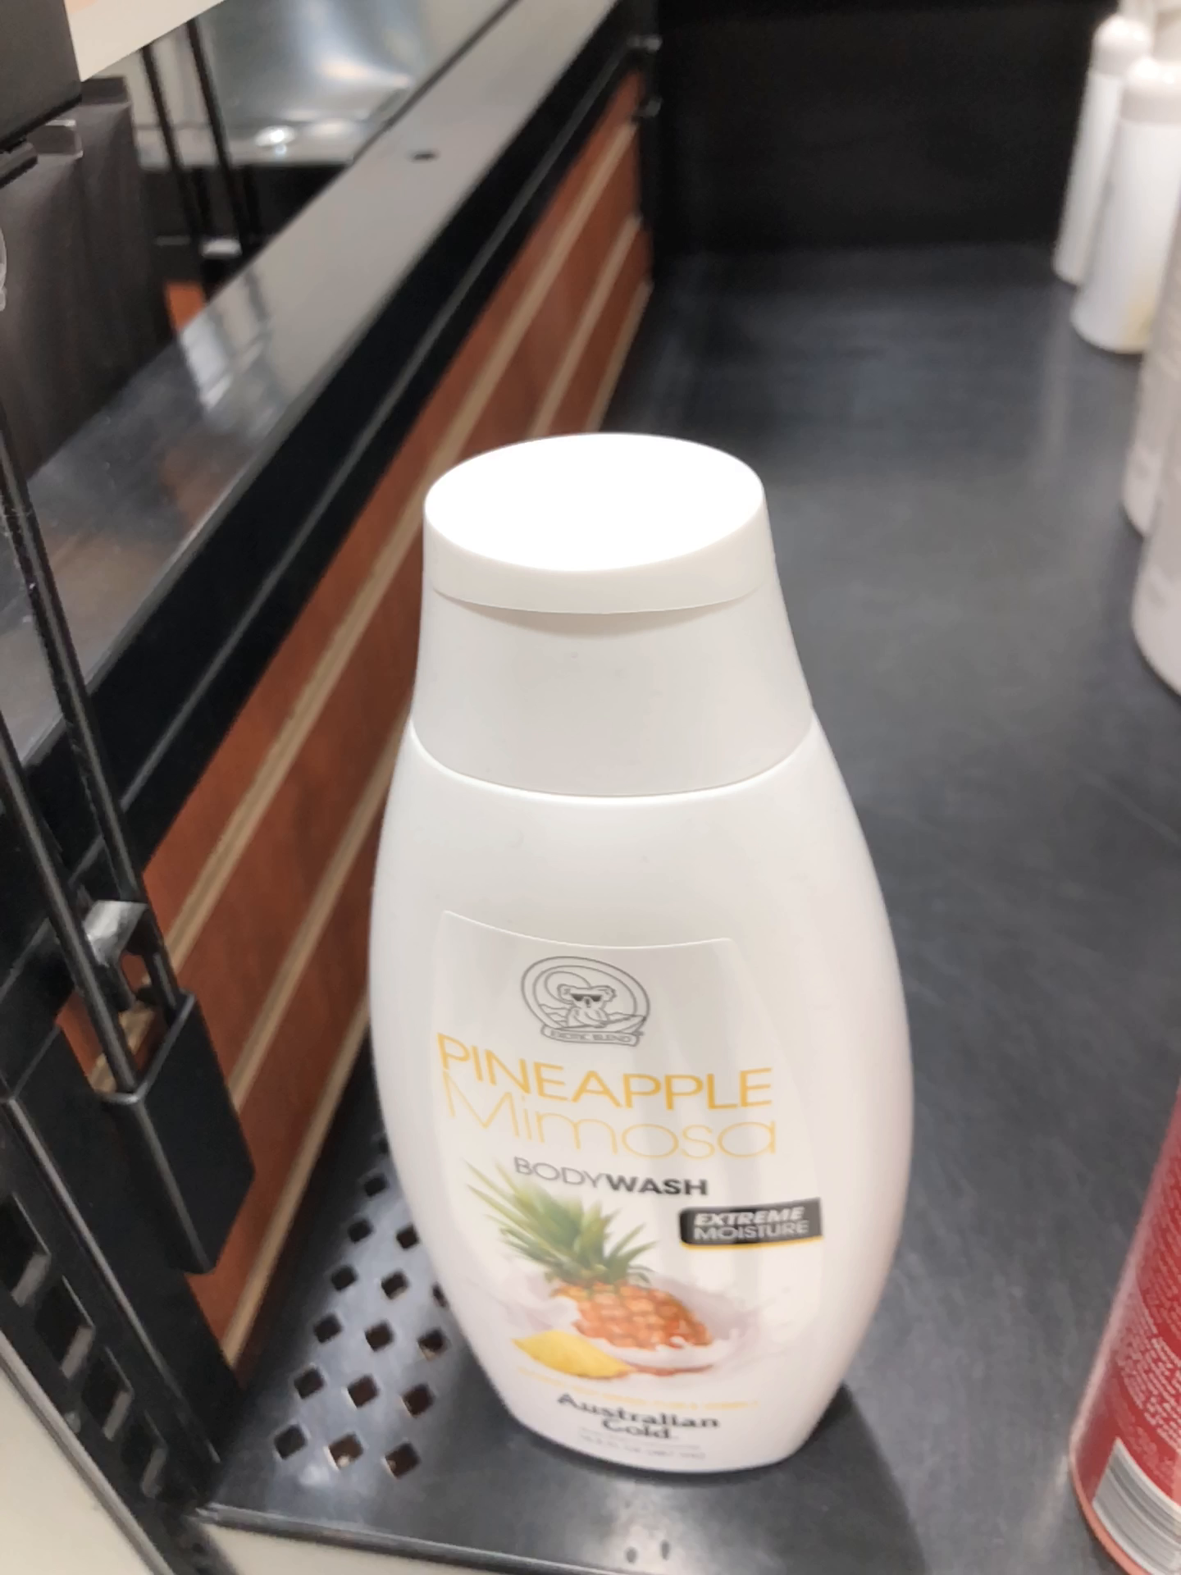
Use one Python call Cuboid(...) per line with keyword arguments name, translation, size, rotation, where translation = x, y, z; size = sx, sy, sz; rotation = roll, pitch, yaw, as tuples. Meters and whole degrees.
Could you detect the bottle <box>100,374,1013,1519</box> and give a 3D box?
Cuboid(name="bottle", translation=(0.007, 0.043, 0.233), size=(0.100, 0.214, 0.060), rotation=(4, 41, 11))
